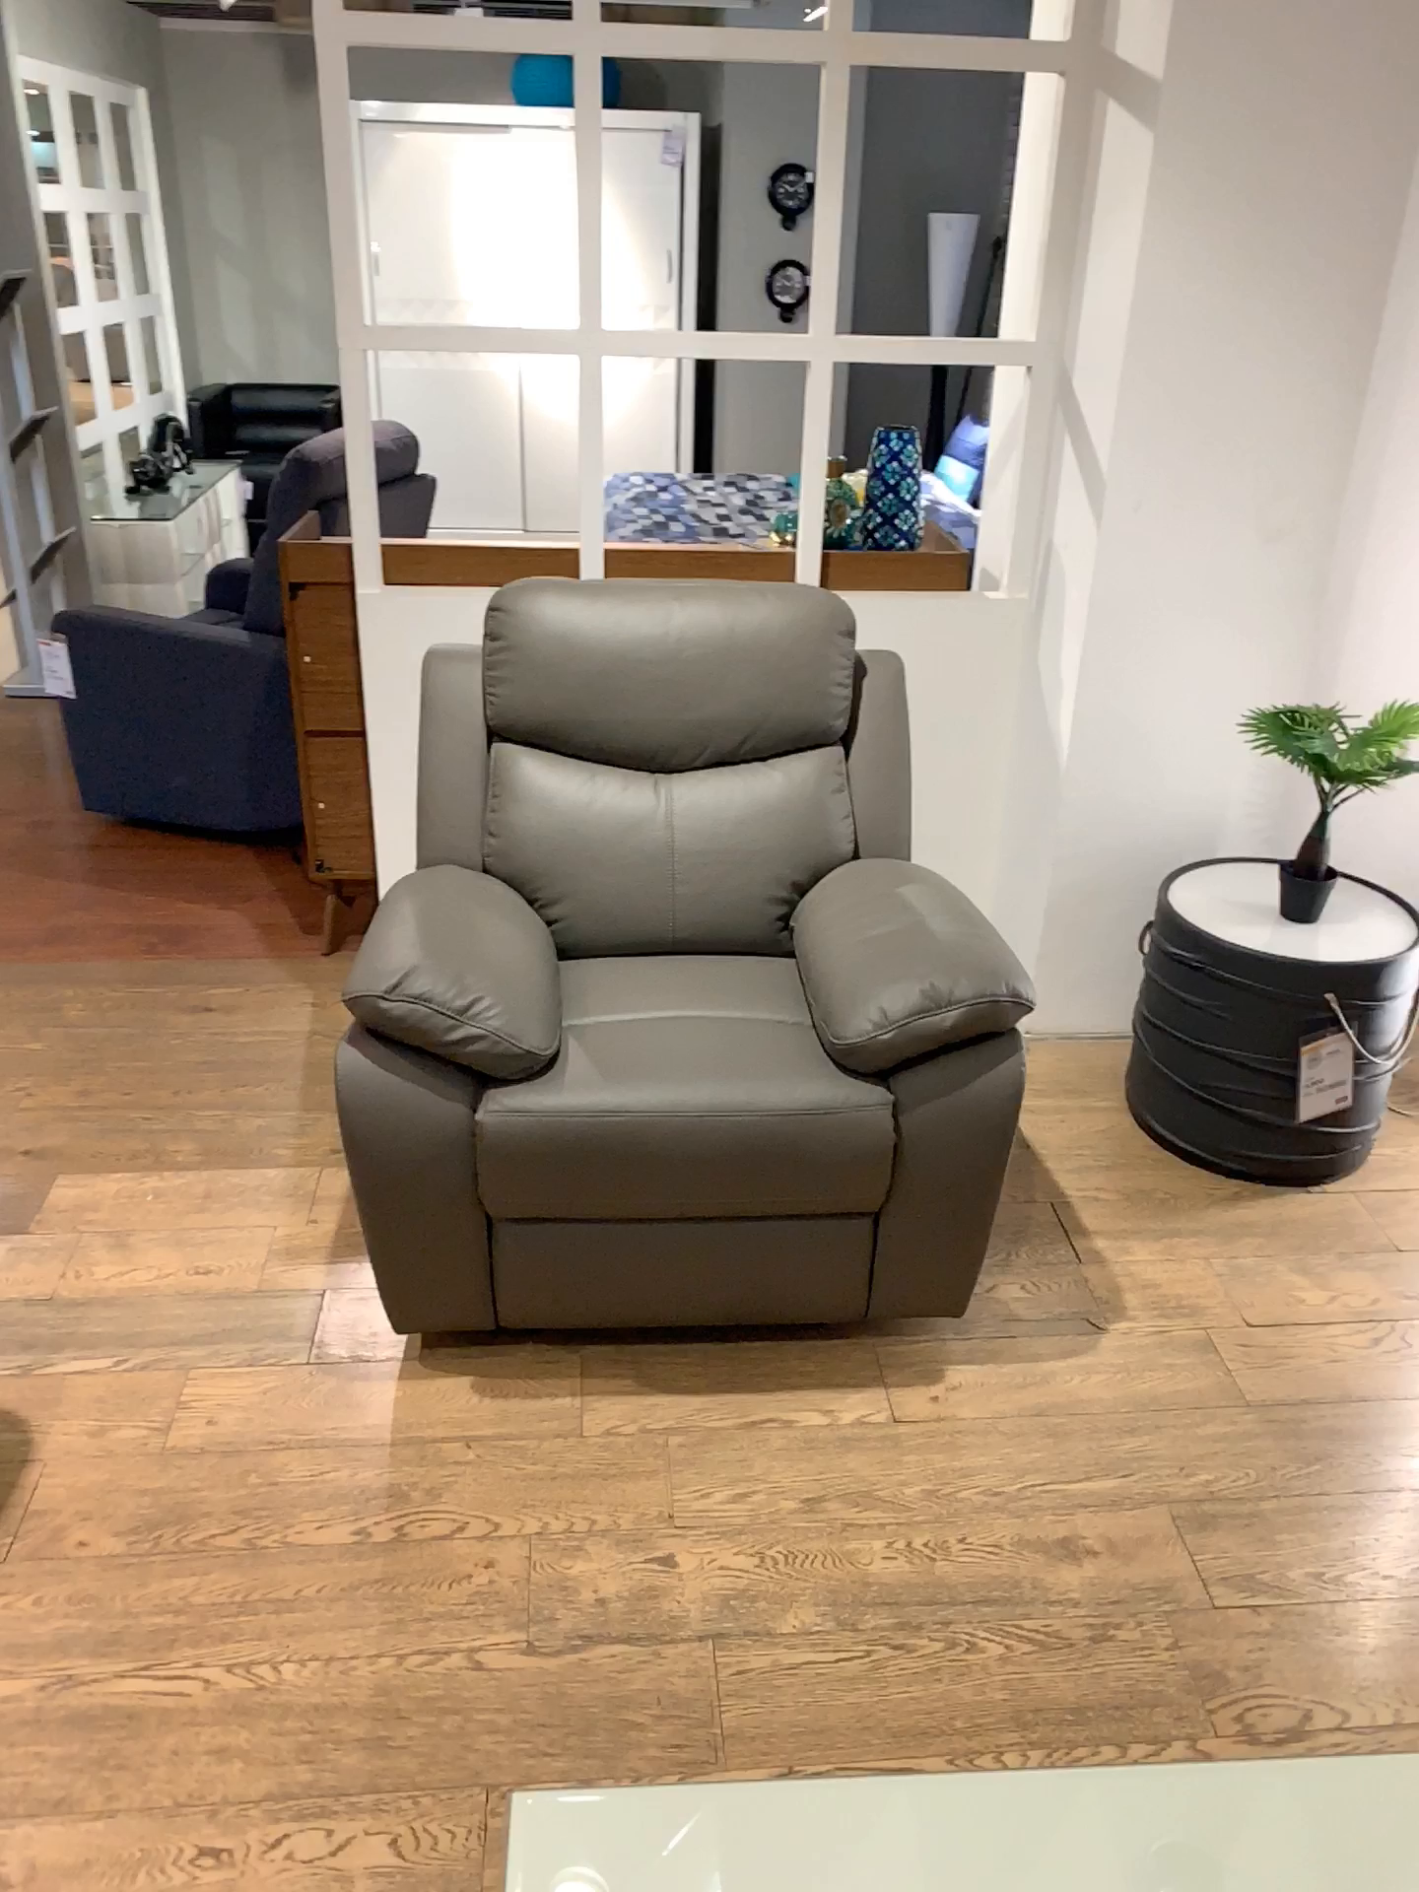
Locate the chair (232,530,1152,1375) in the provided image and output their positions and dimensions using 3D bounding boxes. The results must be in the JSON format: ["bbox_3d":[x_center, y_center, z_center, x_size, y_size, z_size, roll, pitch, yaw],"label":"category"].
[{"bbox_3d":[-0.053,-0.060,2.187,1.000,0.936,0.944,-1,26,-4],"label":"chair"}]
